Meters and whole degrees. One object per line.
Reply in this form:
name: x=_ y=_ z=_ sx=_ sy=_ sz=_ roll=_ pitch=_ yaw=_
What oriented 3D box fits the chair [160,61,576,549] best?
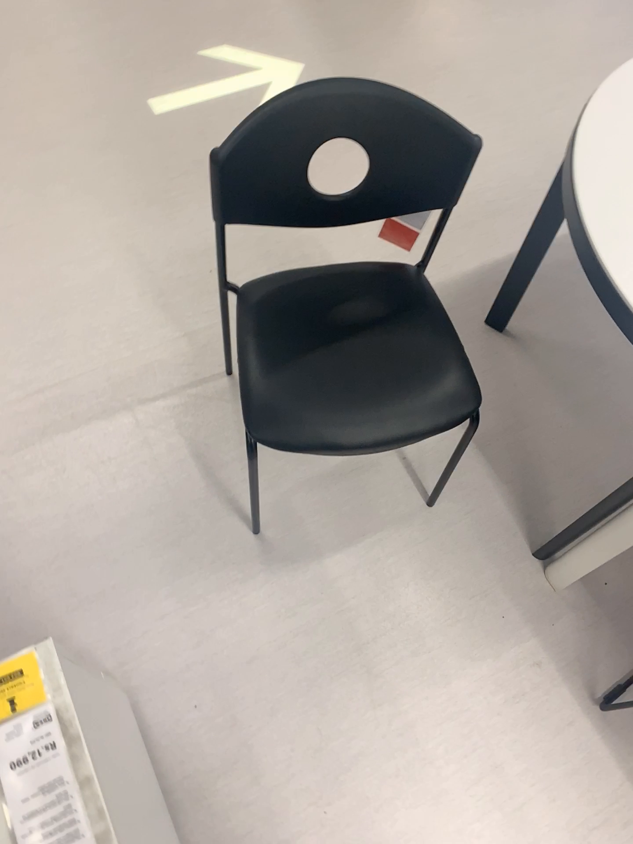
chair: x=0.022 y=-0.181 z=1.303 sx=0.510 sy=0.739 sz=0.581 roll=-9 pitch=62 yaw=-9
